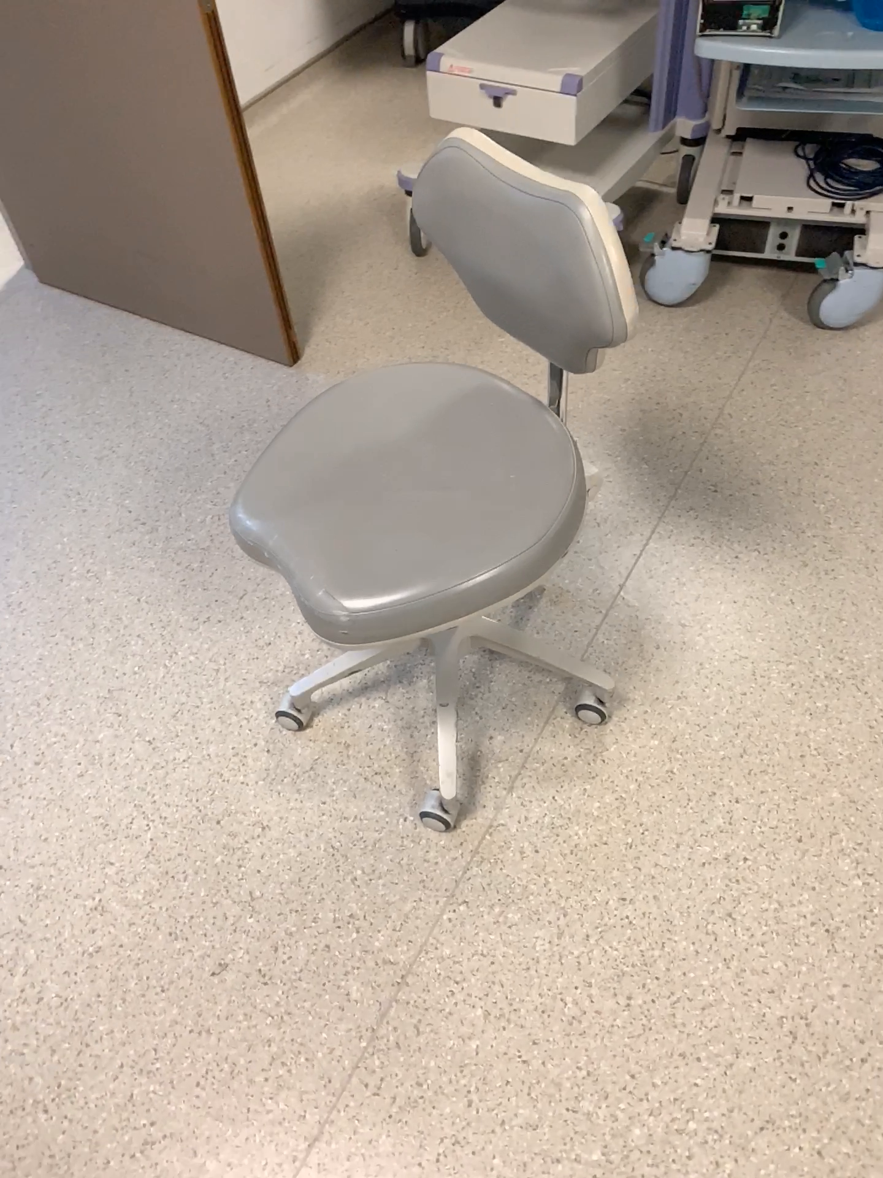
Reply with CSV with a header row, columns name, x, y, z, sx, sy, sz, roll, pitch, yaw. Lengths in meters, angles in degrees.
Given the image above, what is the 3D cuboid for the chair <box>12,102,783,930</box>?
name,x,y,z,sx,sy,sz,roll,pitch,yaw
chair,-0.035,-0.087,1.289,0.602,0.822,0.604,-36,55,-22
